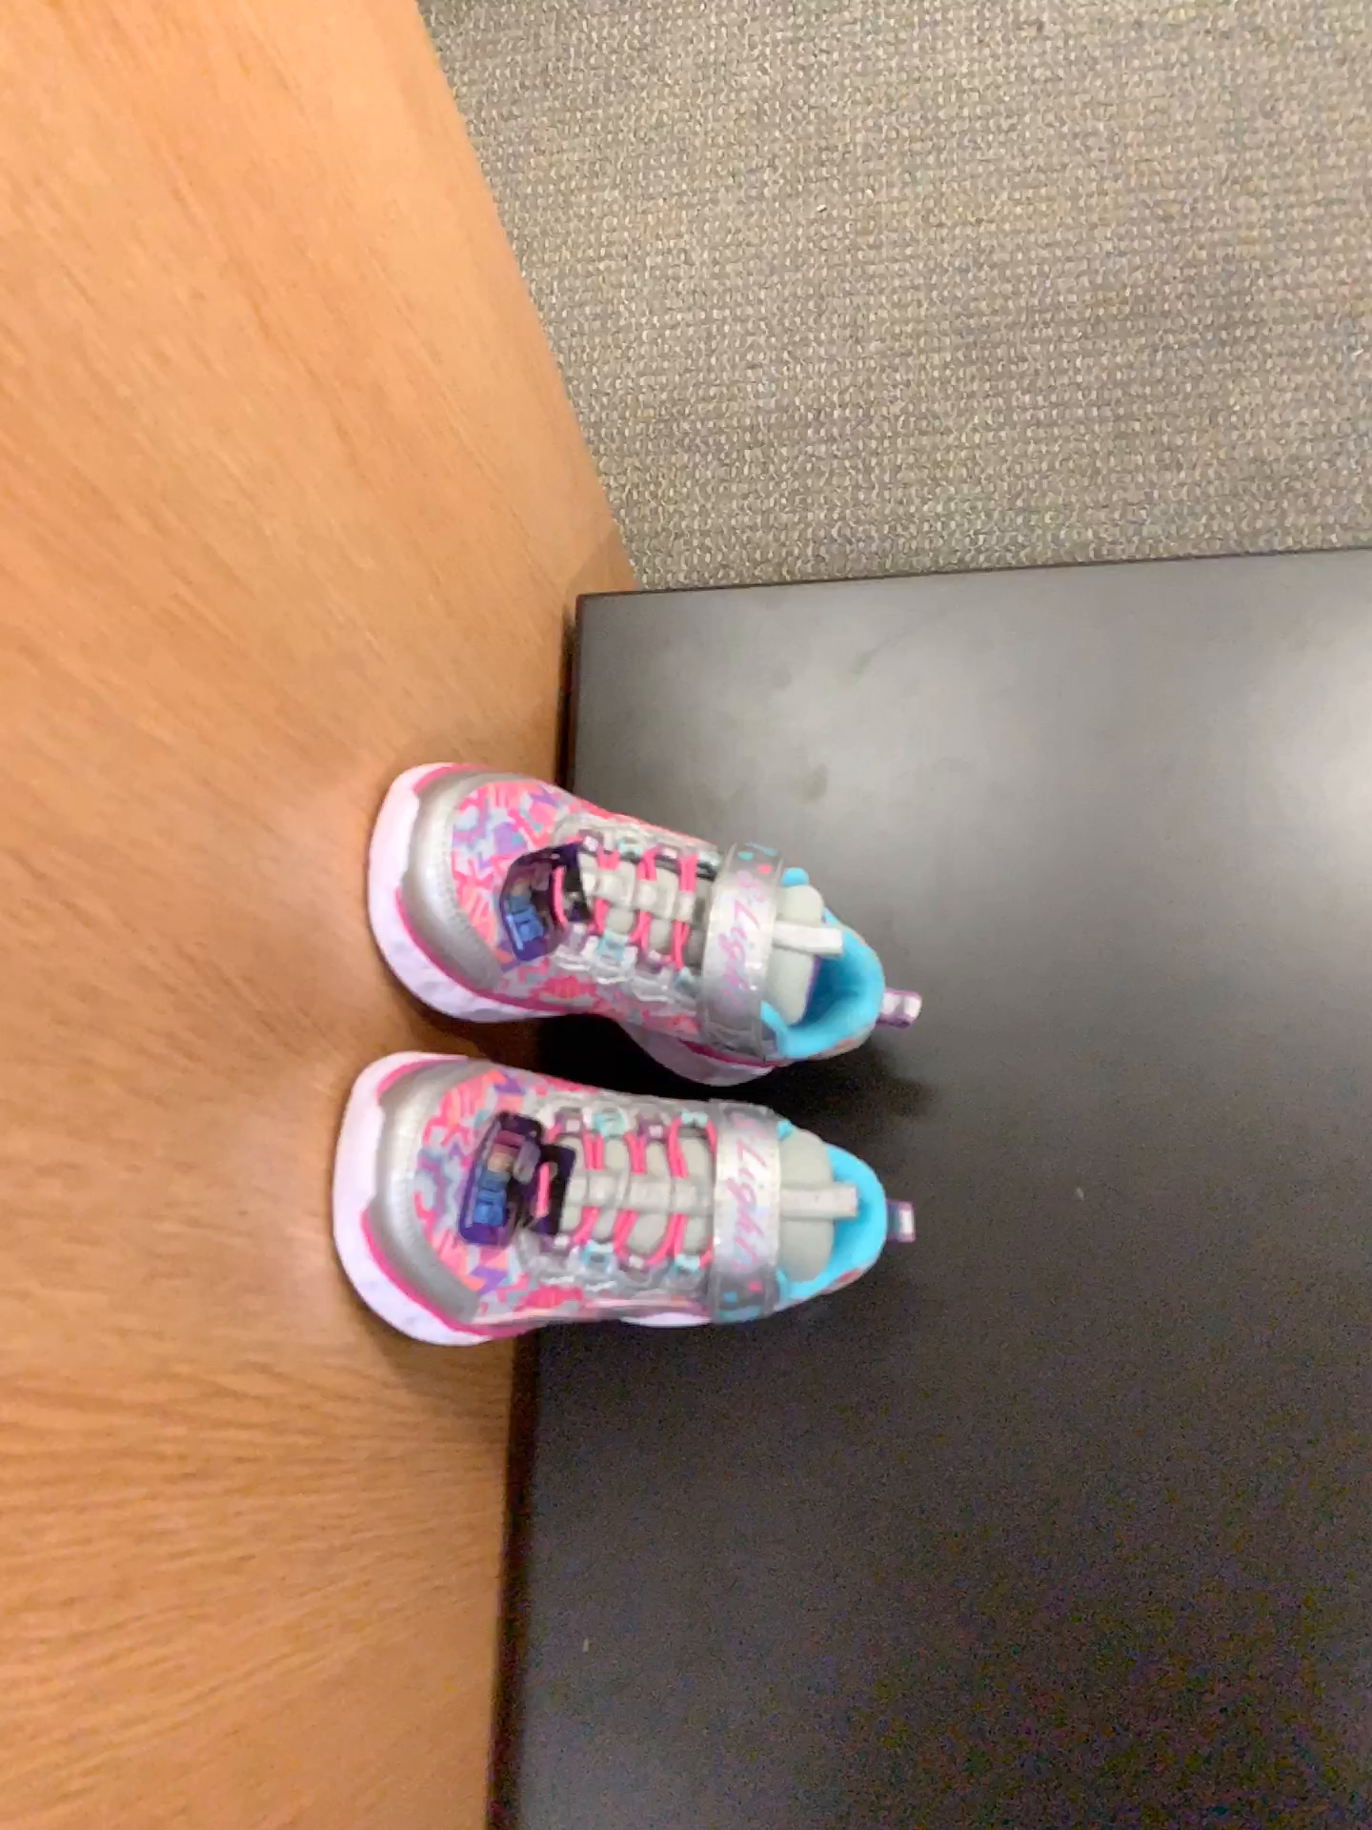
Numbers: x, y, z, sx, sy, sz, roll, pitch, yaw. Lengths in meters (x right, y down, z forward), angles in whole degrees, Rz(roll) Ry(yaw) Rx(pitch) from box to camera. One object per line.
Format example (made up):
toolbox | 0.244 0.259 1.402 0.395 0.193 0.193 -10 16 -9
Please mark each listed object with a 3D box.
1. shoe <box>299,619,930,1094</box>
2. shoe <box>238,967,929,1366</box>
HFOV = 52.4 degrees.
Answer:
shoe | -0.017 -0.007 0.466 0.100 0.180 0.090 -16 62 47
shoe | -0.025 0.088 0.427 0.100 0.180 0.090 -20 62 46
